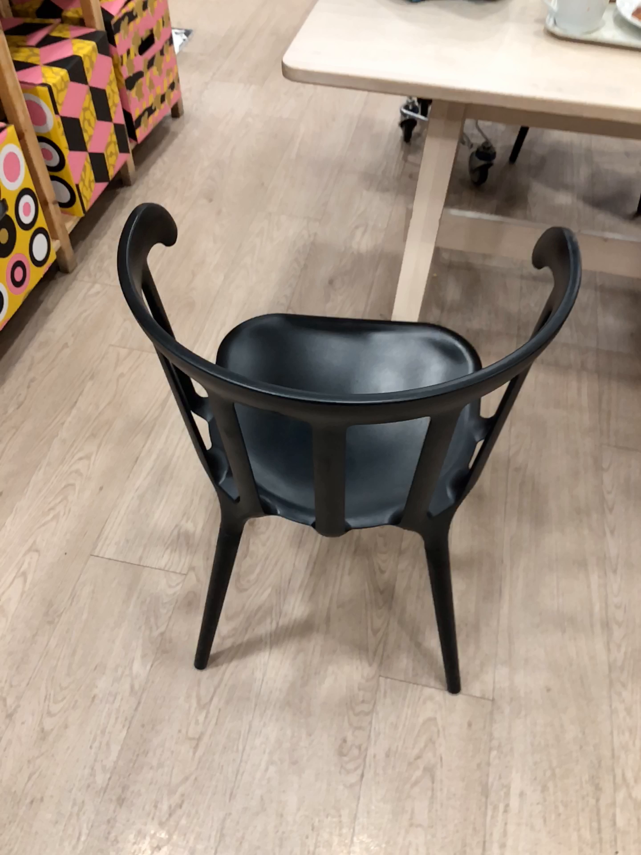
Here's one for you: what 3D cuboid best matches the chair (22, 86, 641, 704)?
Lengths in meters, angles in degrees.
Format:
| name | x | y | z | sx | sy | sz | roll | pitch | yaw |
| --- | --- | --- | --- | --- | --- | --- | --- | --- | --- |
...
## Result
| name | x | y | z | sx | sy | sz | roll | pitch | yaw |
| --- | --- | --- | --- | --- | --- | --- | --- | --- | --- |
| chair | 0.035 | -0.012 | 1.016 | 0.530 | 0.686 | 0.533 | 5 | 51 | 4 |
